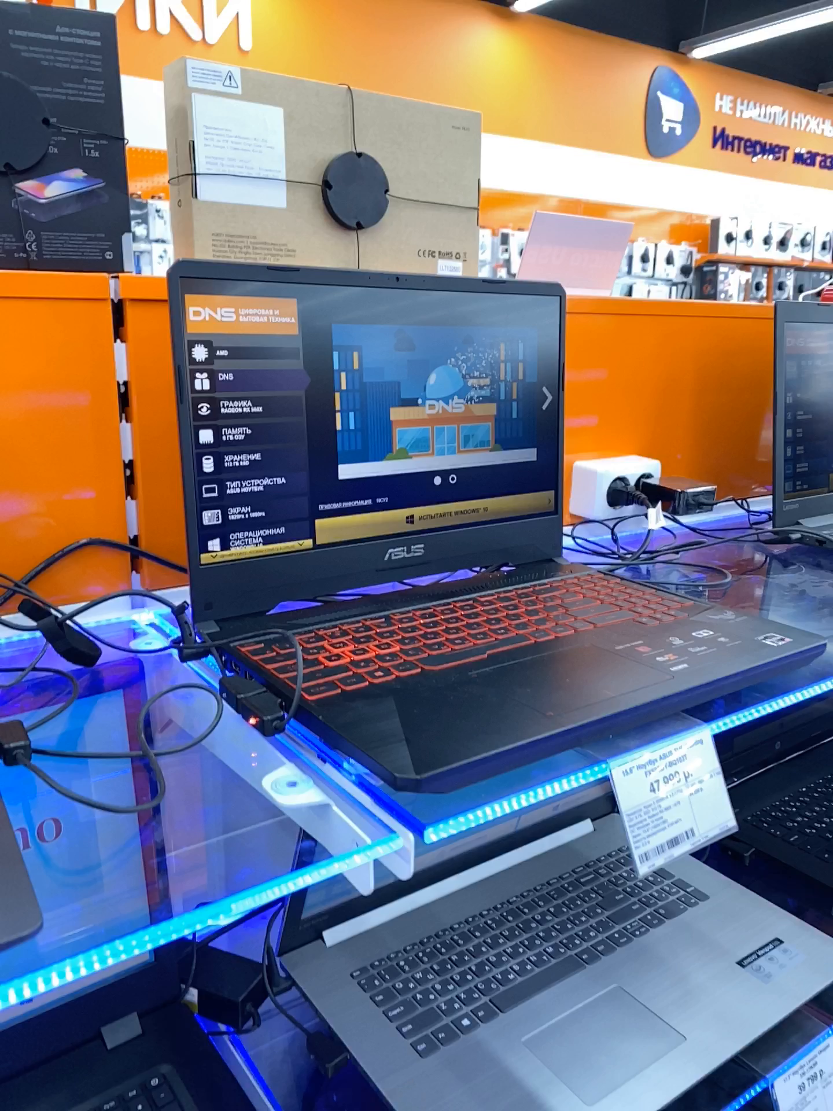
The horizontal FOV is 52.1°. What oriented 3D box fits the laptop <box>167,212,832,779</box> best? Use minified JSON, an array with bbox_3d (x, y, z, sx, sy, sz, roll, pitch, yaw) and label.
[{"bbox_3d":[0.064,-0.068,0.582,0.359,0.248,0.286,-8,16,-34],"label":"laptop"}]
